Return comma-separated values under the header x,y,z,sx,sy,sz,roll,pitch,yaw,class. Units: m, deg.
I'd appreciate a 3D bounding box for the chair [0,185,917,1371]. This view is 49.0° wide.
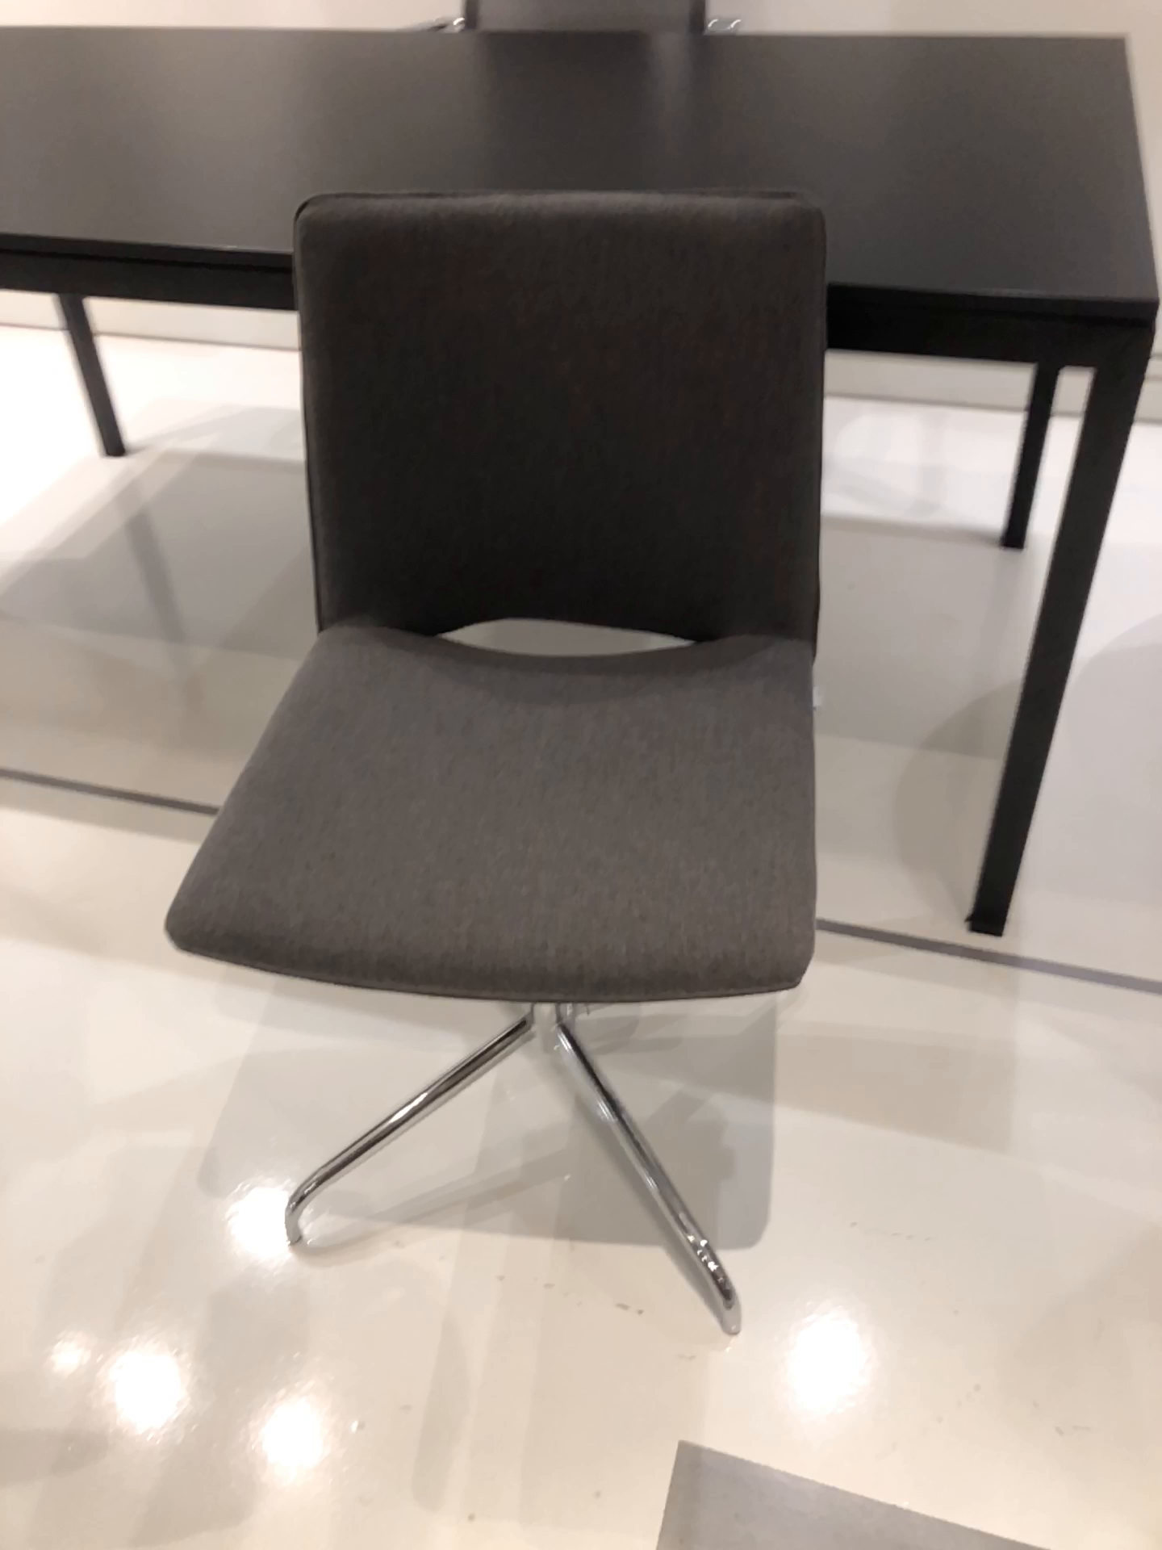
x,y,z,sx,sy,sz,roll,pitch,yaw,class
-0.042,0.019,1.101,0.520,0.843,0.534,4,41,8,chair
